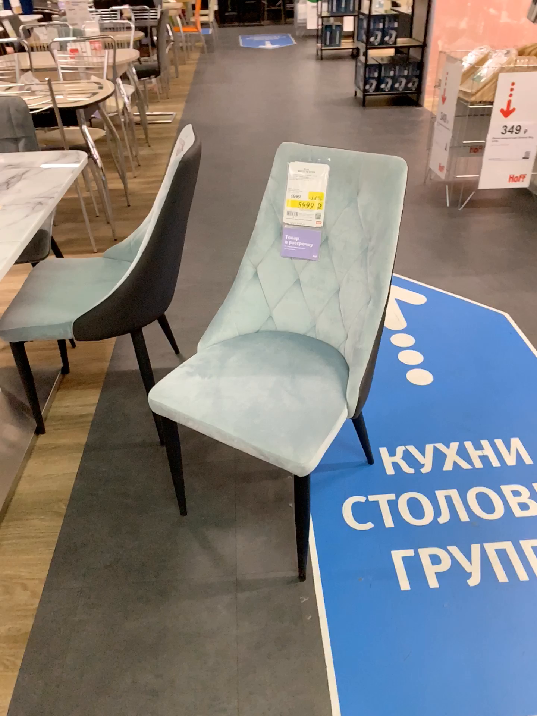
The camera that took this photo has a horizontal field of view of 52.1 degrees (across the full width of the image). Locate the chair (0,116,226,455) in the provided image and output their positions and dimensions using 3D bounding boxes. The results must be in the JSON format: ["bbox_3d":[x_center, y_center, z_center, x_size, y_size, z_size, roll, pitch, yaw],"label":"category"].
[{"bbox_3d":[-0.505,-0.228,1.764,0.665,0.880,0.572,-3,36,-2],"label":"chair"}]

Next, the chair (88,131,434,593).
[{"bbox_3d":[0.024,-0.005,1.355,0.470,0.885,0.552,19,41,27],"label":"chair"}]
